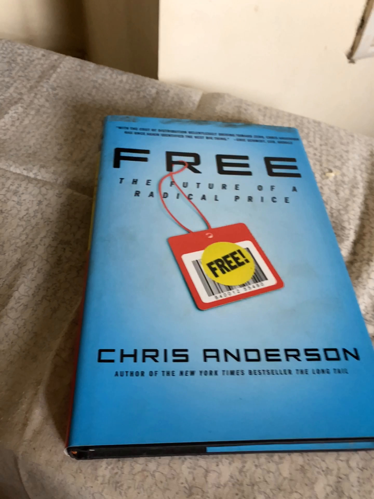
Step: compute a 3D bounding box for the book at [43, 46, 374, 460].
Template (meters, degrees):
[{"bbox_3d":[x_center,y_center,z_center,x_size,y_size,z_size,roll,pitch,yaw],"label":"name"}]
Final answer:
[{"bbox_3d":[0.033,-0.034,0.254,0.180,0.040,0.281,0,50,-5],"label":"book"}]
